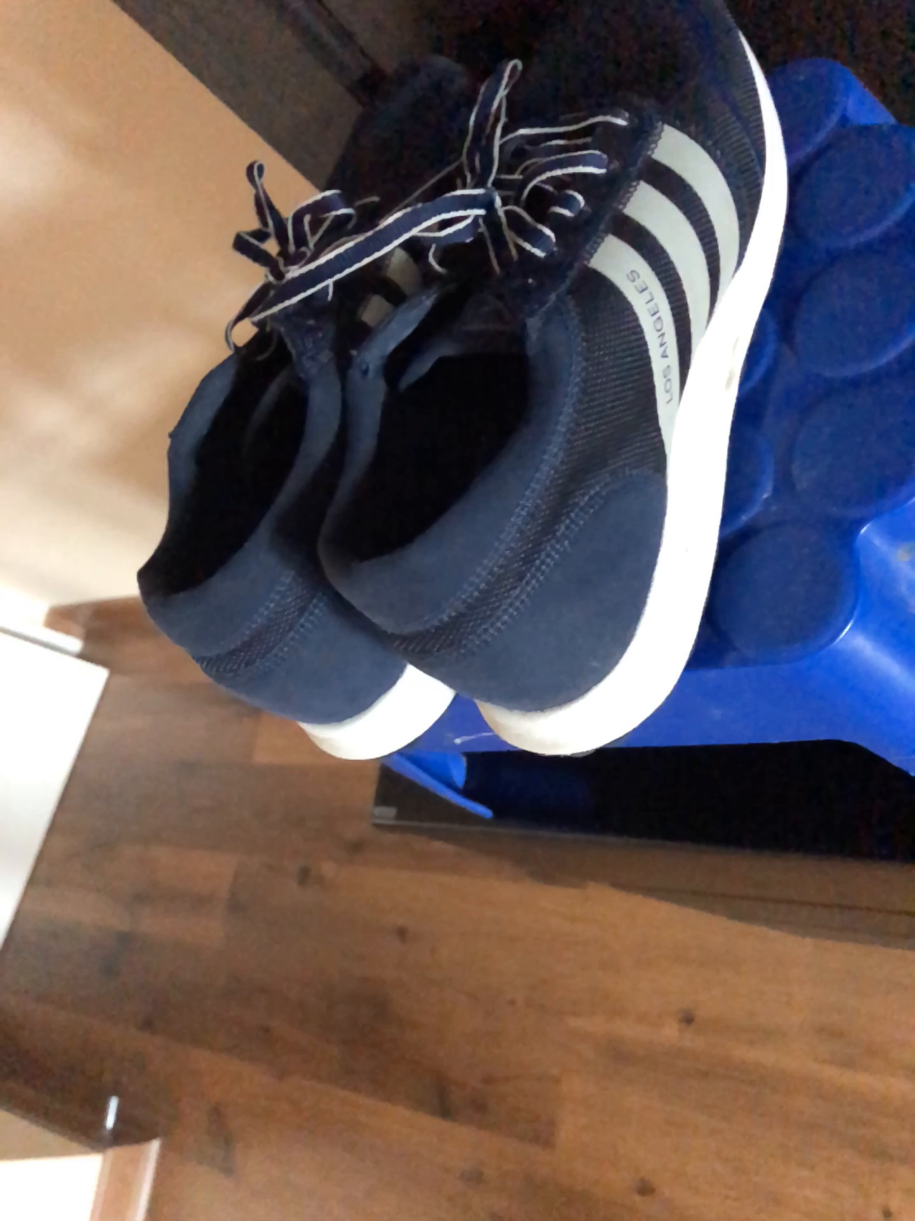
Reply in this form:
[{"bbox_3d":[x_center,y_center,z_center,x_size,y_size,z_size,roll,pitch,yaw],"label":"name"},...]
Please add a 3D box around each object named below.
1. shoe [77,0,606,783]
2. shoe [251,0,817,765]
[{"bbox_3d":[-0.028,-0.080,0.367,0.110,0.109,0.261,-9,65,36],"label":"shoe"},{"bbox_3d":[0.038,-0.092,0.325,0.110,0.109,0.261,-6,67,37],"label":"shoe"}]
